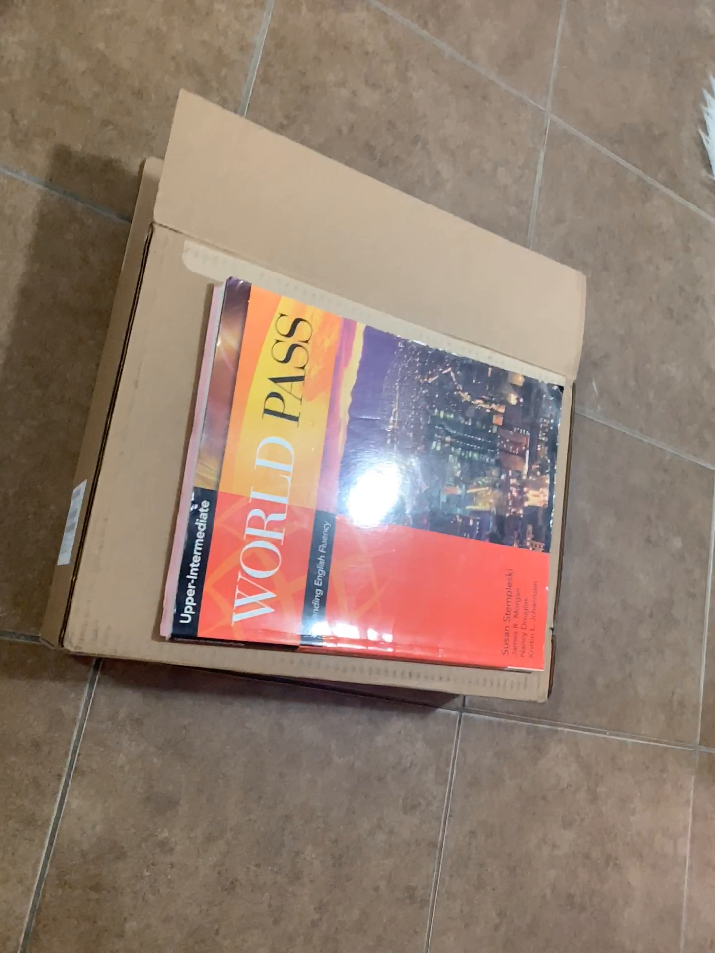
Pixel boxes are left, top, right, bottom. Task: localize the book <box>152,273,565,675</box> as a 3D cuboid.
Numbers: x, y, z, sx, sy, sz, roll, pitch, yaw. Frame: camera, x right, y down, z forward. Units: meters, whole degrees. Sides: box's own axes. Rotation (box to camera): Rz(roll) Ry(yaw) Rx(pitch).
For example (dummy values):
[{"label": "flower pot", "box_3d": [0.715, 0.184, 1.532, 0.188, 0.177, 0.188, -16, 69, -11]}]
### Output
[{"label": "book", "box_3d": [0.021, 0.011, 0.475, 0.271, 0.018, 0.211, 12, 77, -27]}]
